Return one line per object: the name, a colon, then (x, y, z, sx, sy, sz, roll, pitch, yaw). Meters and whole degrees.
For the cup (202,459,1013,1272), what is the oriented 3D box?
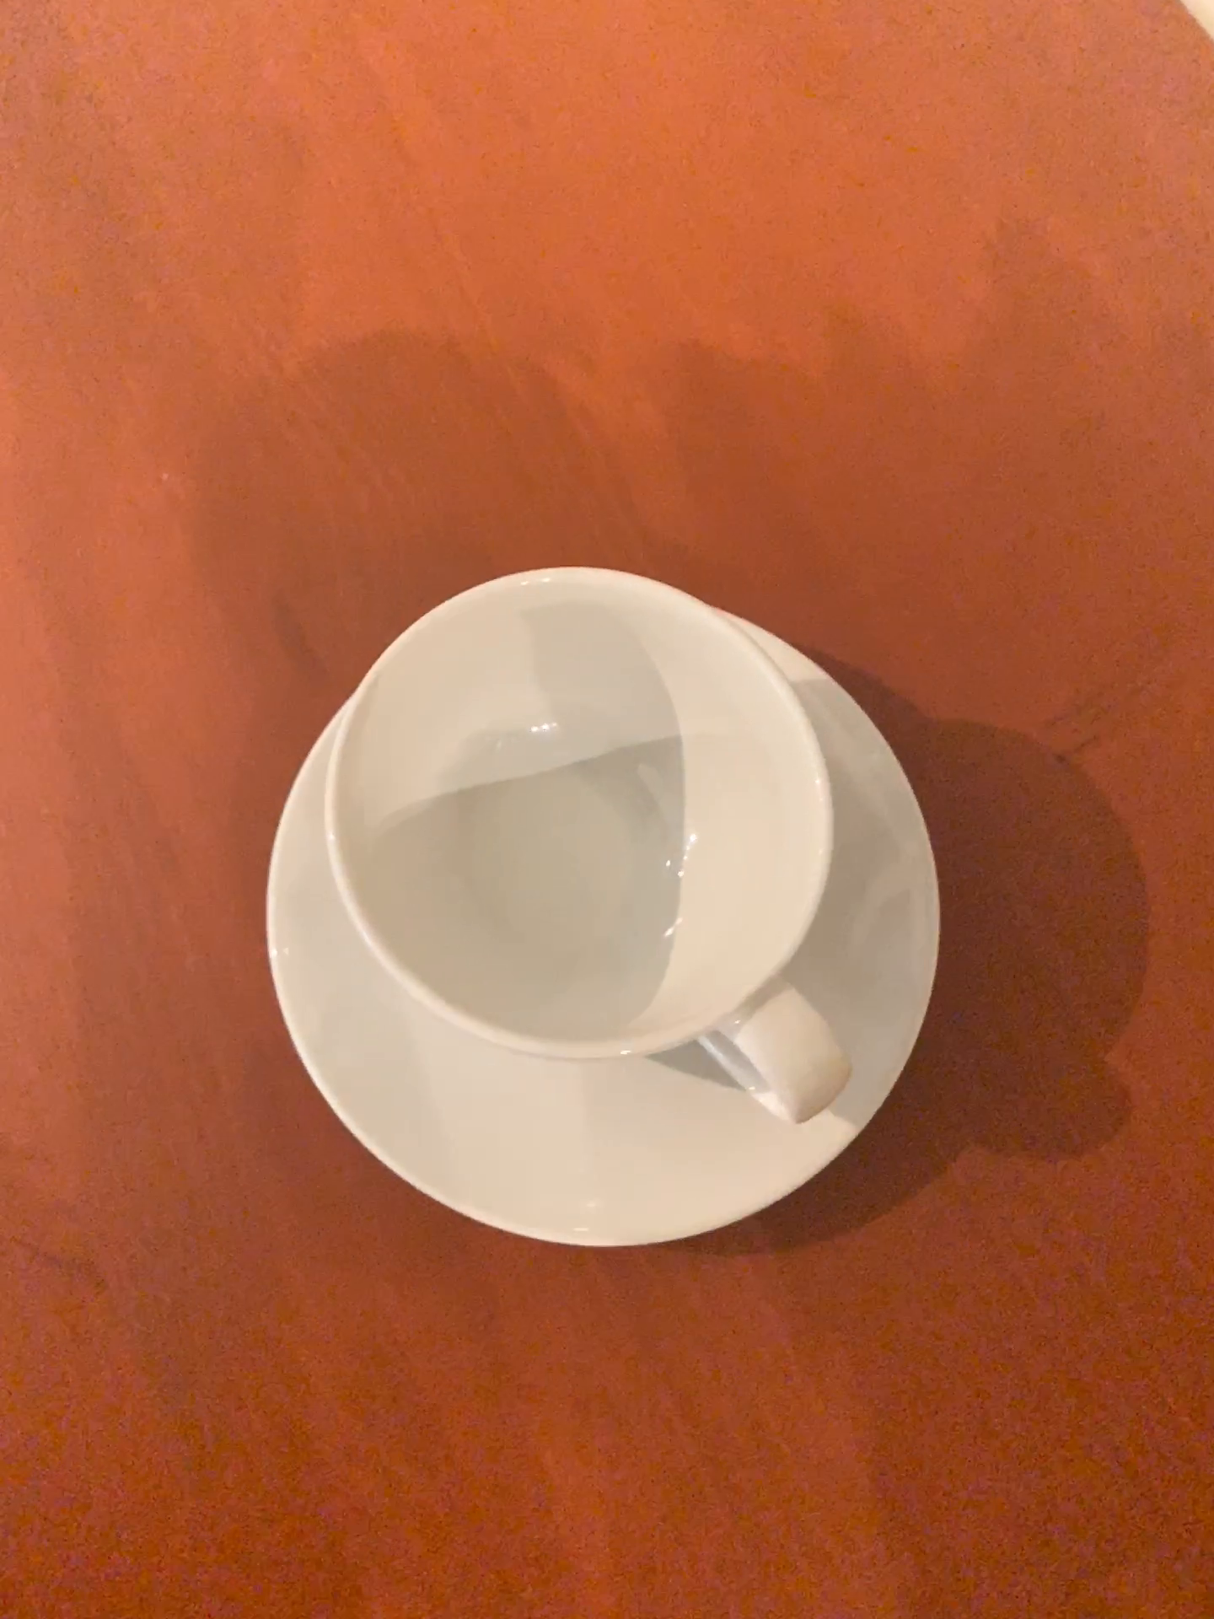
cup: (-0.002, 0.010, 0.228, 0.080, 0.050, 0.110, -37, 78, -13)
